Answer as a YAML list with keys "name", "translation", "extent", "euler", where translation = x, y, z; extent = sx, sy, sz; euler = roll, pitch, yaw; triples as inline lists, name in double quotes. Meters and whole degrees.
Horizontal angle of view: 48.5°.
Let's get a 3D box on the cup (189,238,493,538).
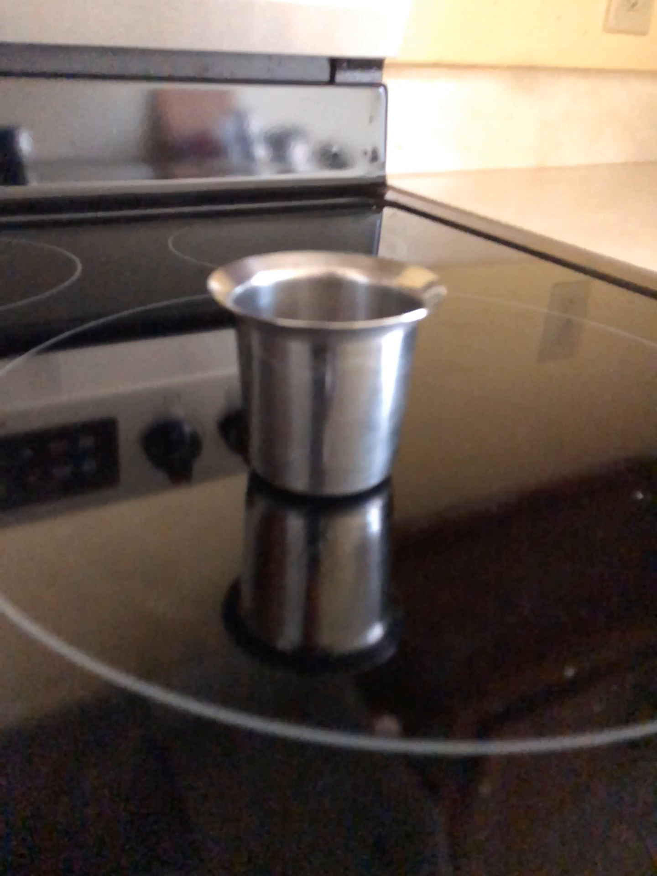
- name: "cup"
  translation: [-0.002, -0.019, 0.202]
  extent: [0.066, 0.056, 0.073]
  euler: [2, 28, -1]
